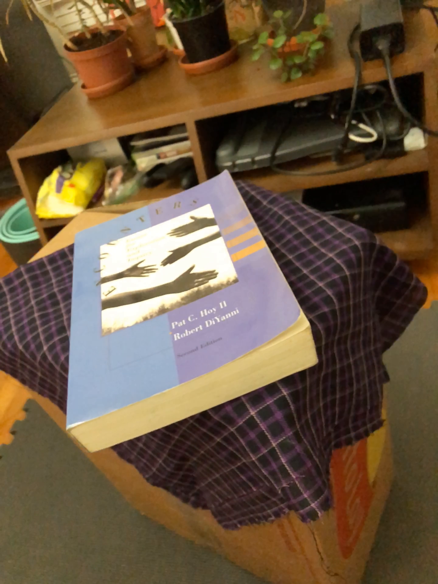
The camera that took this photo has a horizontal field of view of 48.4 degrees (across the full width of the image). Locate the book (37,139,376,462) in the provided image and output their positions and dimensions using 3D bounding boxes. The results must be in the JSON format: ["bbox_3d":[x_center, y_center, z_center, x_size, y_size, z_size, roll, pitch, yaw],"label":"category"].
[{"bbox_3d":[-0.031,-0.023,0.388,0.200,0.040,0.261,-21,39,1],"label":"book"}]
